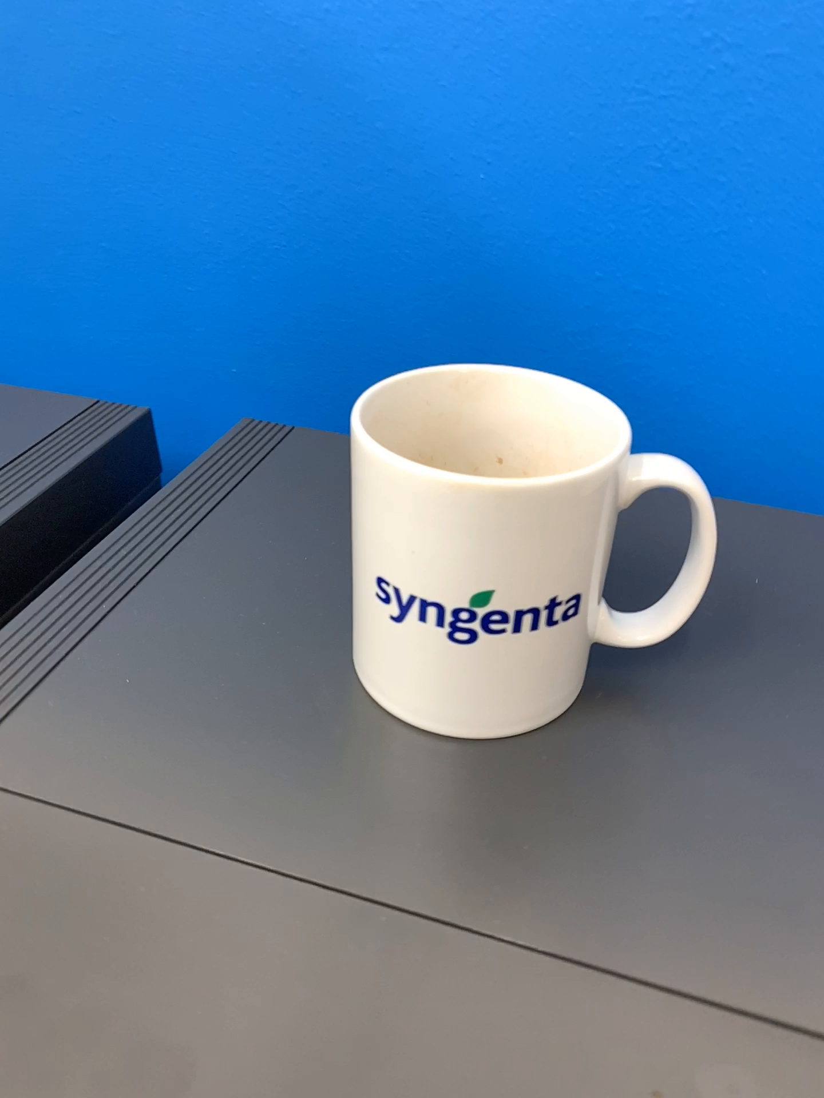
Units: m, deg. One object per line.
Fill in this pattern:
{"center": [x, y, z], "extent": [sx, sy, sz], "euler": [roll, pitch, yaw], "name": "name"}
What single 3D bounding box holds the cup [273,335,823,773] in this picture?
{"center": [0.033, -0.002, 0.266], "extent": [0.131, 0.094, 0.089], "euler": [4, 34, 3], "name": "cup"}
